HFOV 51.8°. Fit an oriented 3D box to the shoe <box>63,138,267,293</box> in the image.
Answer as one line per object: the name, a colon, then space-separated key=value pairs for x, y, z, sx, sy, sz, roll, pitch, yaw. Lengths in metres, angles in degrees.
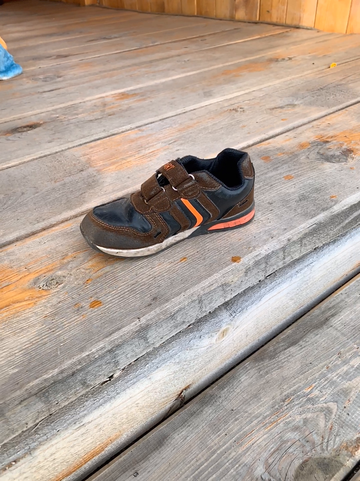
shoe: x=-0.014 y=-0.035 z=0.407 sx=0.190 sy=0.089 sz=0.091 roll=-17 pitch=39 yaw=-17
